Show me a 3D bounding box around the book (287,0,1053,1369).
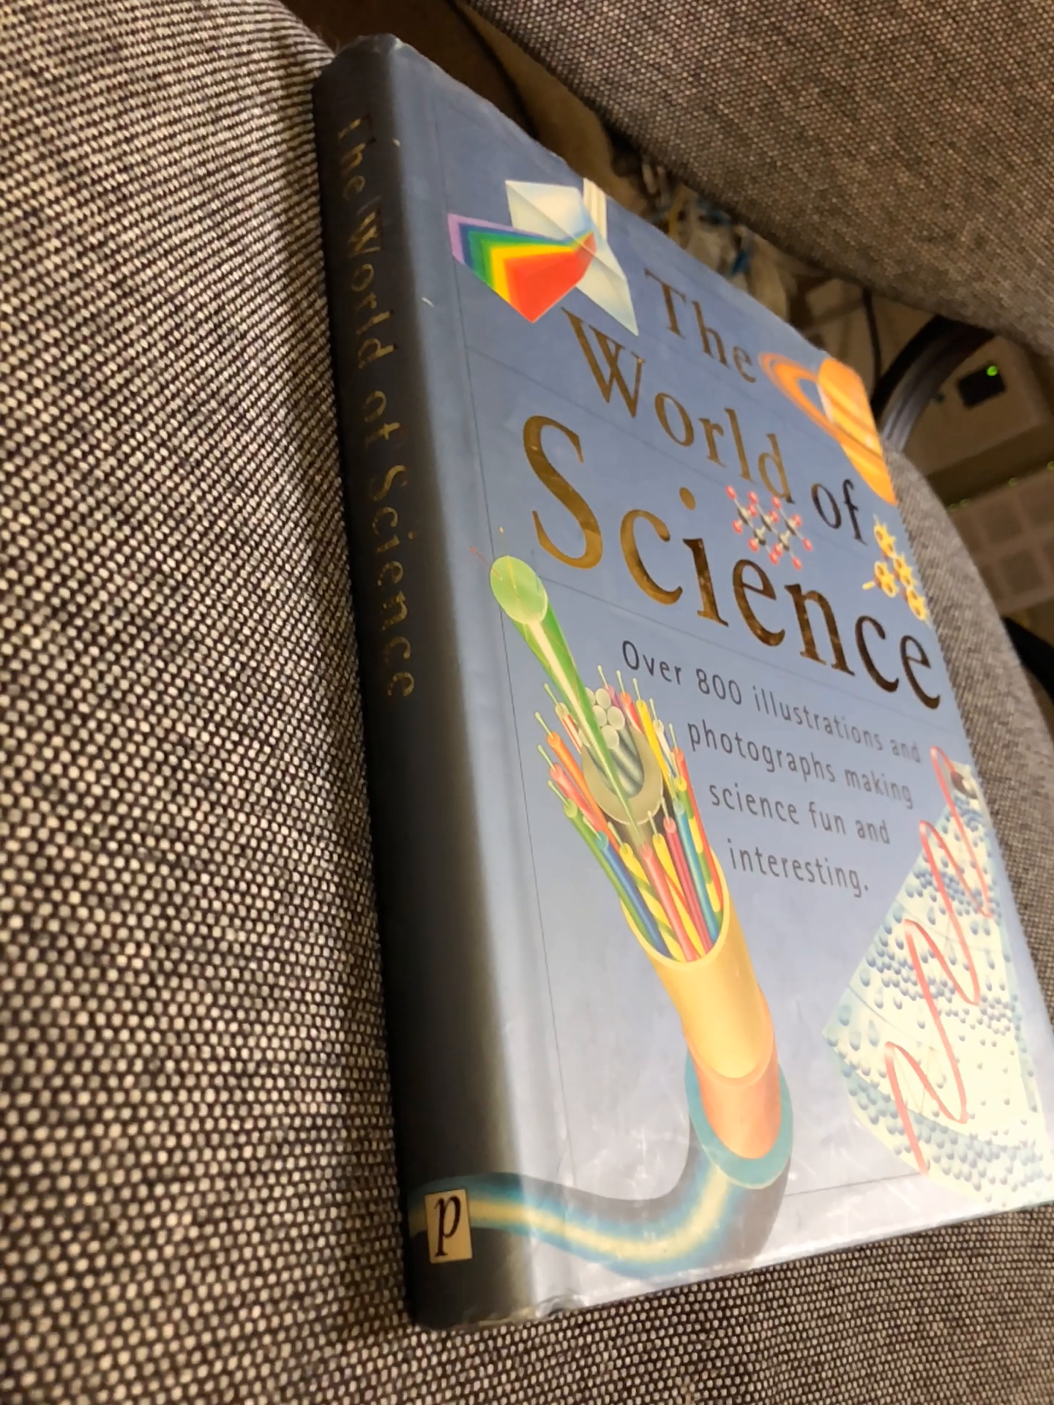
[{"bbox_3d":[0.048,-0.011,0.298,0.222,0.030,0.276,14,59,-44],"label":"book"}]
